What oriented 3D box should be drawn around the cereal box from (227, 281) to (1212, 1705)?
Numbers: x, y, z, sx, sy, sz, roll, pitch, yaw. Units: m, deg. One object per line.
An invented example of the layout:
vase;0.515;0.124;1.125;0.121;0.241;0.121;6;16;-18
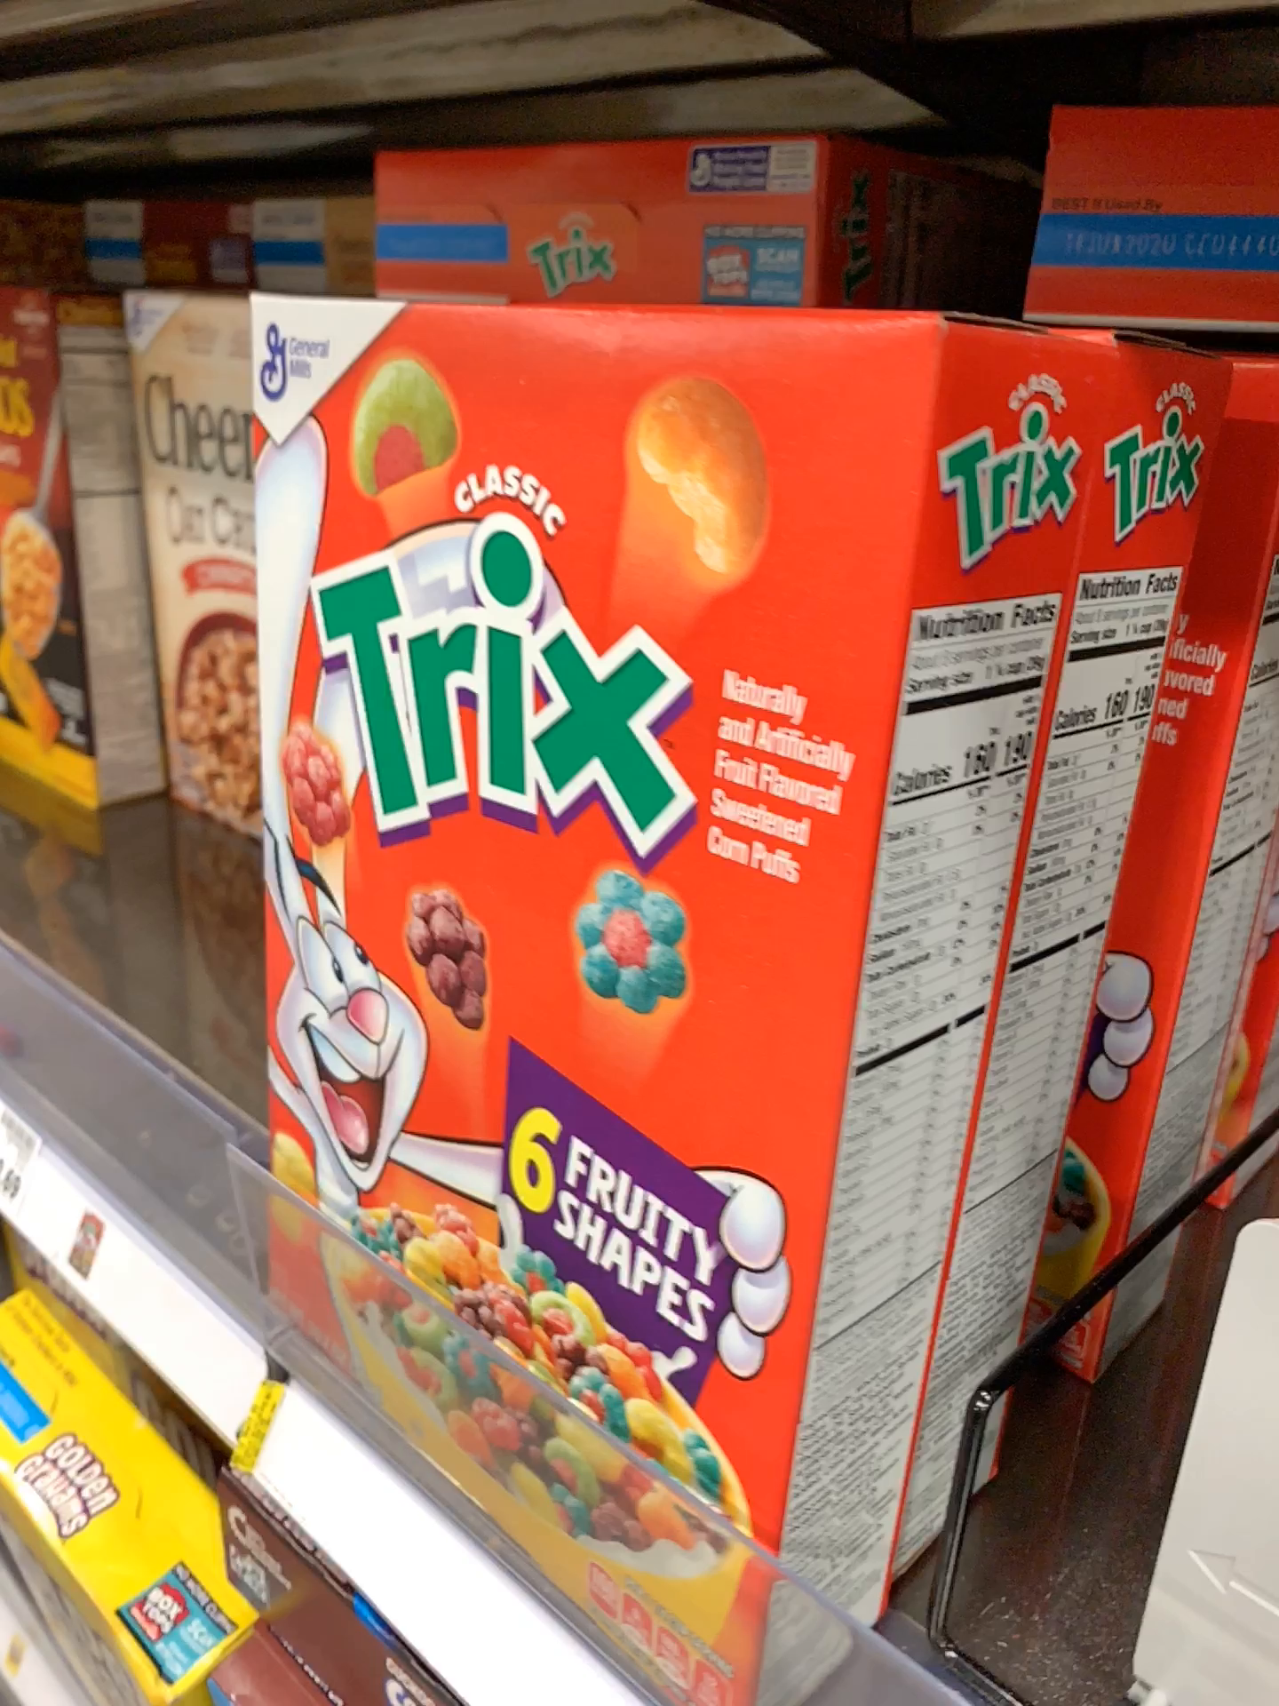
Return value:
cereal box;-0.009;0.029;0.309;0.201;0.289;0.060;22;27;39
